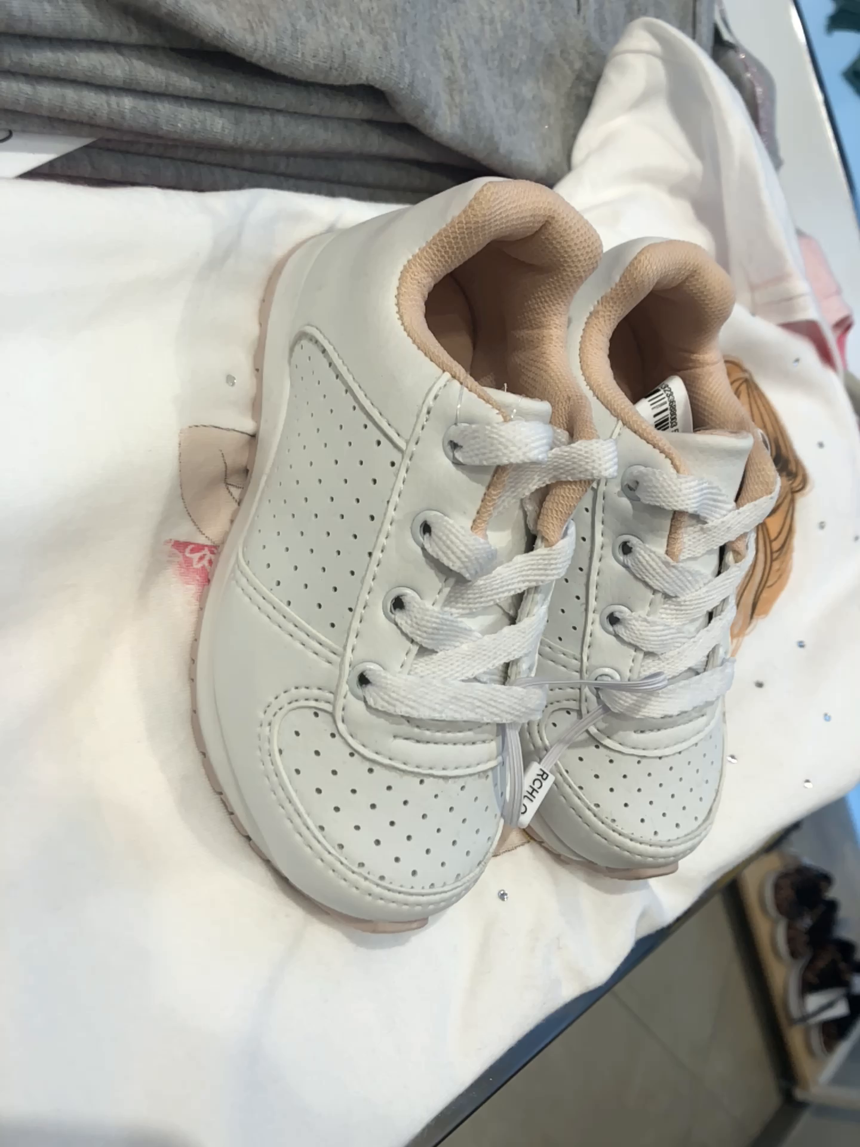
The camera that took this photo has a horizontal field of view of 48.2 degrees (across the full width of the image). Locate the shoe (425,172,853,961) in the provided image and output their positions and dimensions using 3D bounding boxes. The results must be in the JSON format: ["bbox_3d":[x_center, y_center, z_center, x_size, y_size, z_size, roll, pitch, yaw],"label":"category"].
[{"bbox_3d":[0.054,-0.002,0.244,0.081,0.060,0.160,-3,88,-45],"label":"shoe"}]

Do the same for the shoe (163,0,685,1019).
[{"bbox_3d":[0.003,-0.010,0.195,0.080,0.060,0.160,9,80,-43],"label":"shoe"}]
